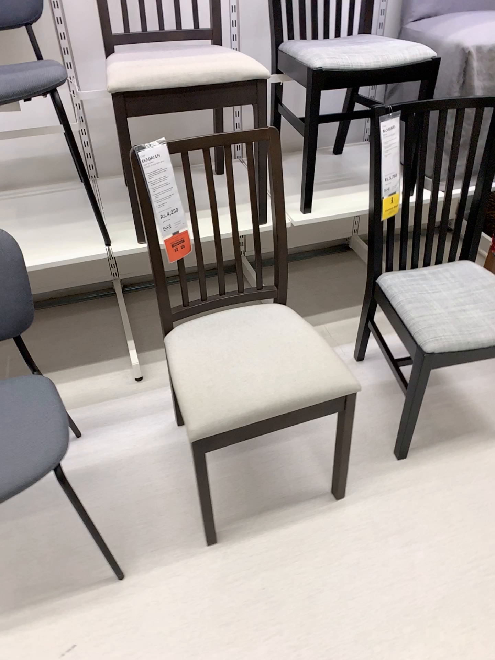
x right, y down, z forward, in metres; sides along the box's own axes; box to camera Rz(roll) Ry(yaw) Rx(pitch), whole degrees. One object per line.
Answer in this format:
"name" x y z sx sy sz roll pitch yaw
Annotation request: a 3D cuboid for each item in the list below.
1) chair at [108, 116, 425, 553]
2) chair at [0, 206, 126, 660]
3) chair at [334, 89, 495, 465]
"chair" 0.006 0.025 1.302 0.480 0.916 0.532 -14 40 -14
"chair" -0.704 0.250 1.185 0.570 0.787 0.612 -16 41 -17
"chair" 0.619 -0.142 1.498 0.480 0.916 0.532 -9 39 -9
